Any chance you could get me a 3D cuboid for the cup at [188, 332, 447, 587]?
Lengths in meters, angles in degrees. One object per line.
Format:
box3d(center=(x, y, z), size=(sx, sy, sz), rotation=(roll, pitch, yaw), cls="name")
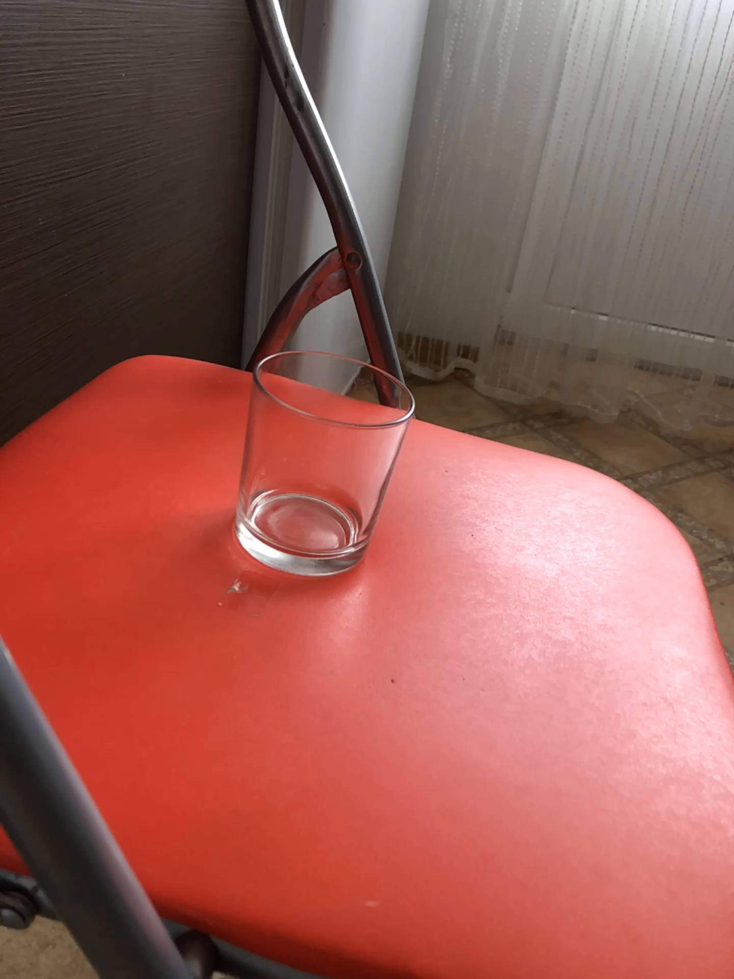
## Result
box3d(center=(-0.027, -0.018, 0.370), size=(0.080, 0.082, 0.078), rotation=(10, 30, -6), cls="cup")
